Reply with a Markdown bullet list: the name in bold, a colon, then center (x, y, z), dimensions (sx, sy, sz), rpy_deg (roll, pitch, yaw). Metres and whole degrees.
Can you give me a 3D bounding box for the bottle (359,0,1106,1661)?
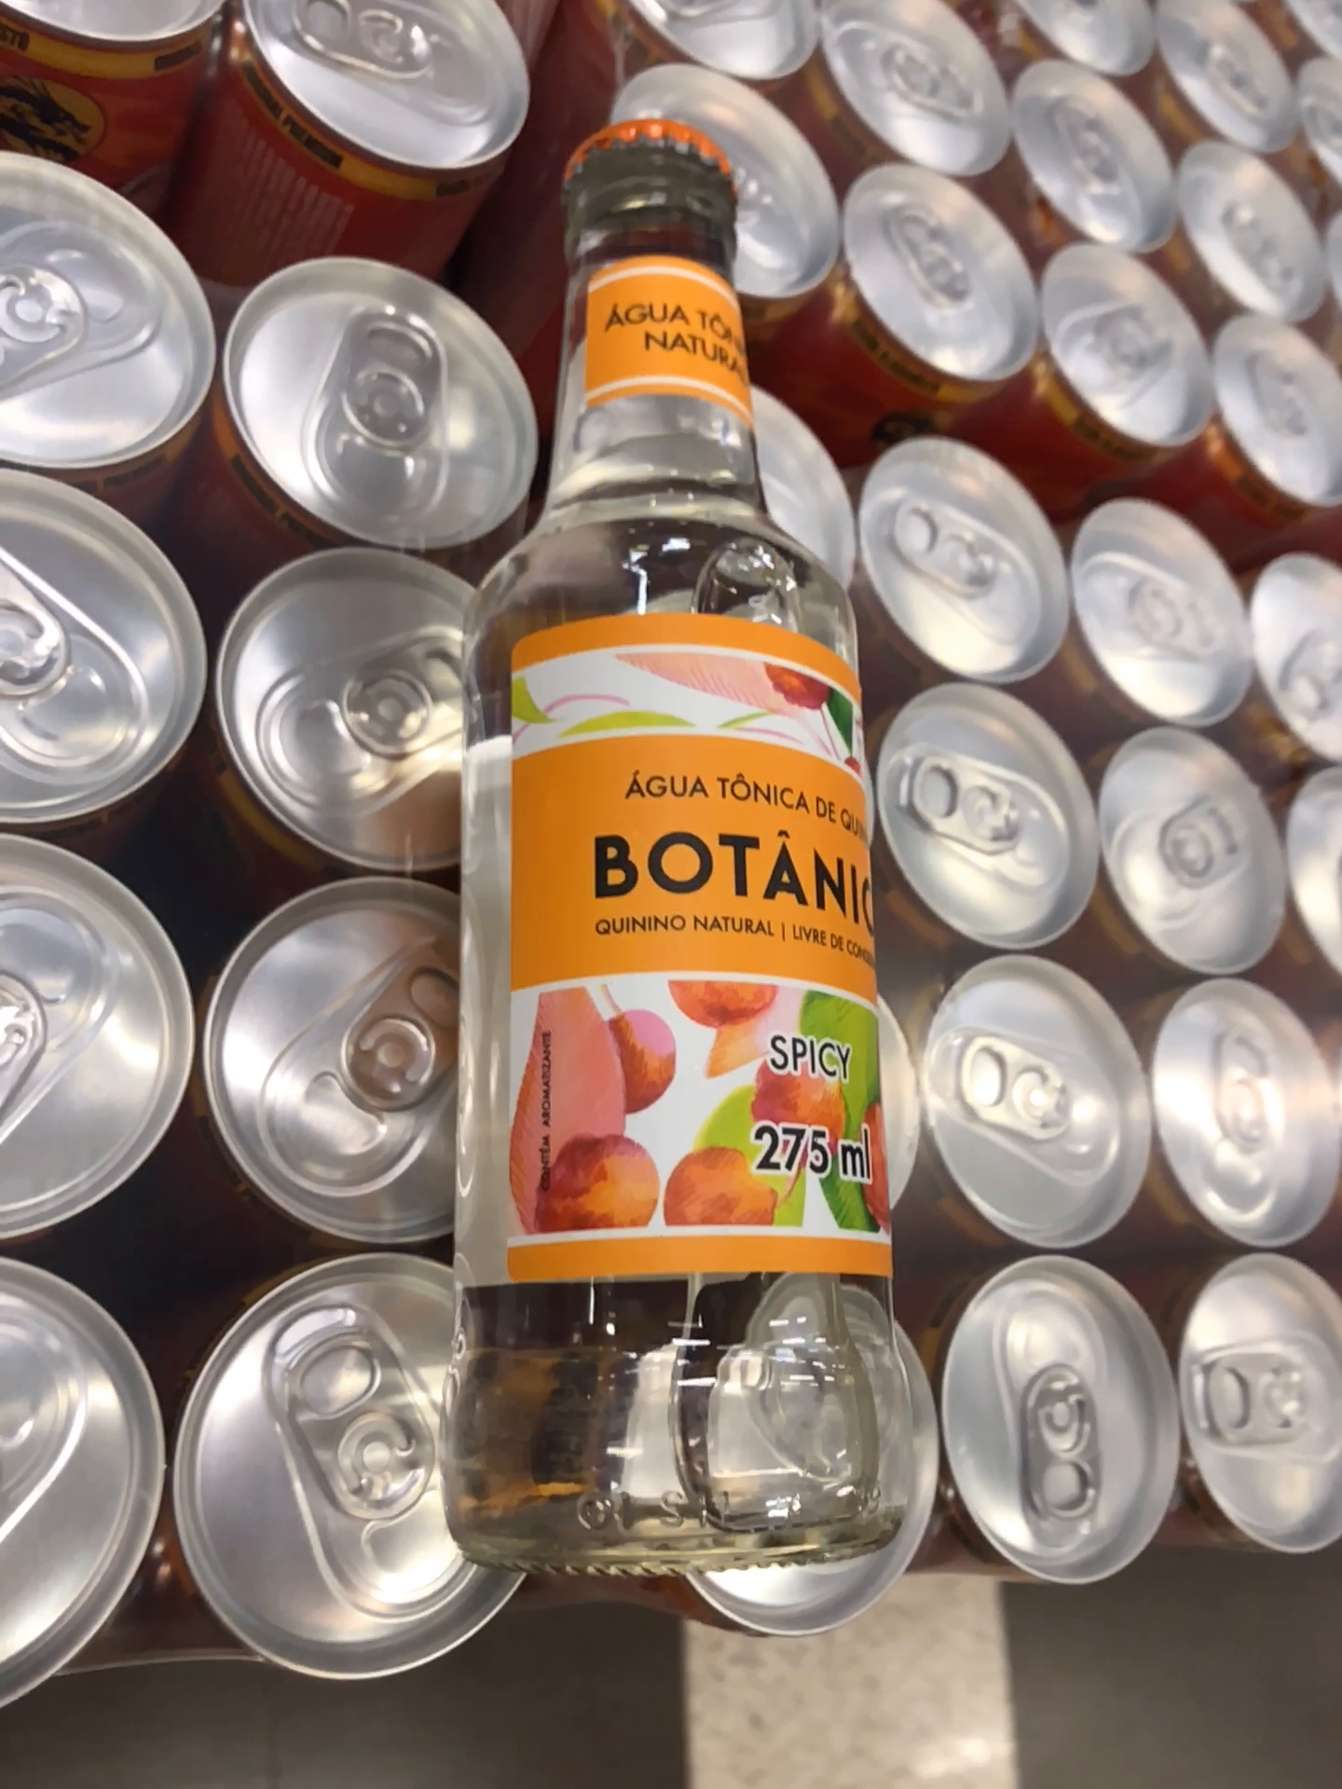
- **bottle**: center (0.007, -0.023, 0.200), dimensions (0.070, 0.050, 0.210), rpy_deg (9, 73, -29)
